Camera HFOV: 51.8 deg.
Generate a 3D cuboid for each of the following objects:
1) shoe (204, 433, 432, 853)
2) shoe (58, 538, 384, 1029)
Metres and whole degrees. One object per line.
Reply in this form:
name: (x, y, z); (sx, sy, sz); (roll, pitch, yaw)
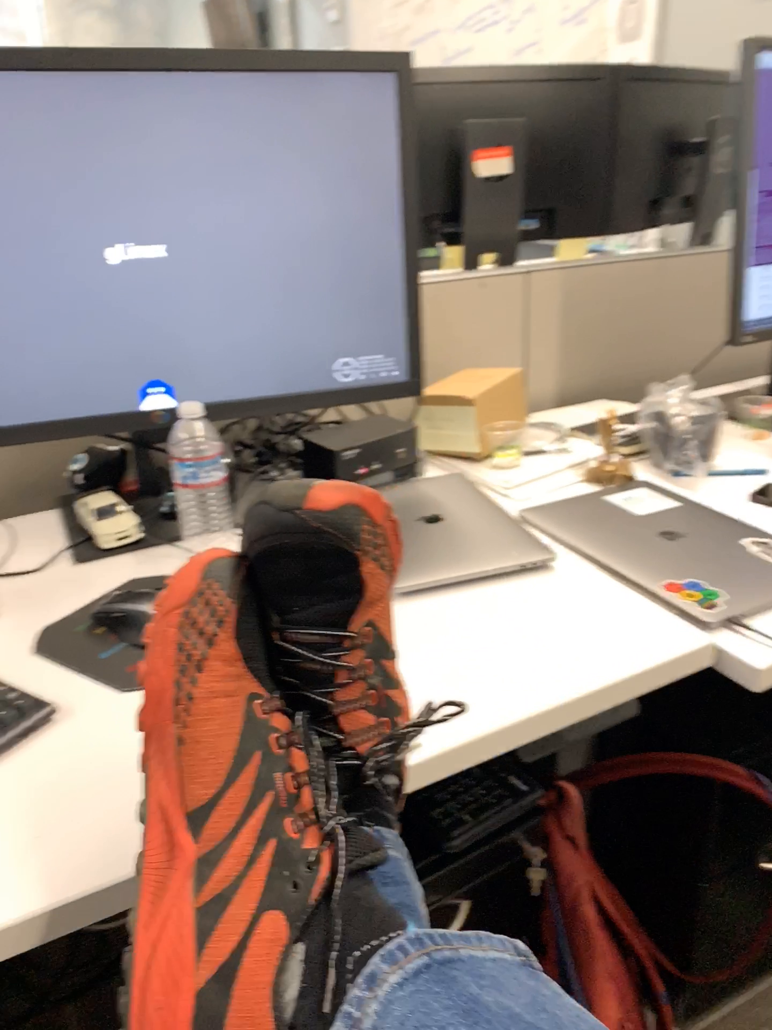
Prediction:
shoe: (-0.032, 0.092, 0.528); (0.107, 0.271, 0.083); (-3, 25, 5)
shoe: (-0.076, 0.162, 0.429); (0.132, 0.289, 0.091); (-1, -12, 8)
